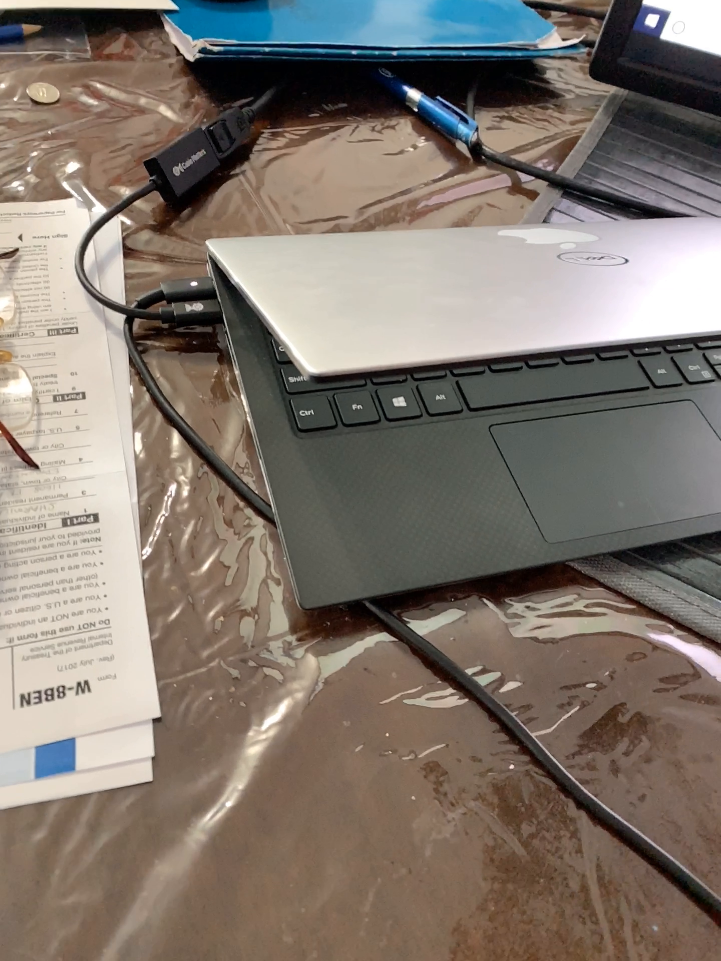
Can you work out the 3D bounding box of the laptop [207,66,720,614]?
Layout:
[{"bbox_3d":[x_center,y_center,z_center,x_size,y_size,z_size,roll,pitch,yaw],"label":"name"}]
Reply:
[{"bbox_3d":[0.099,-0.075,0.301,0.290,0.081,0.183,-8,56,-18],"label":"laptop"}]
